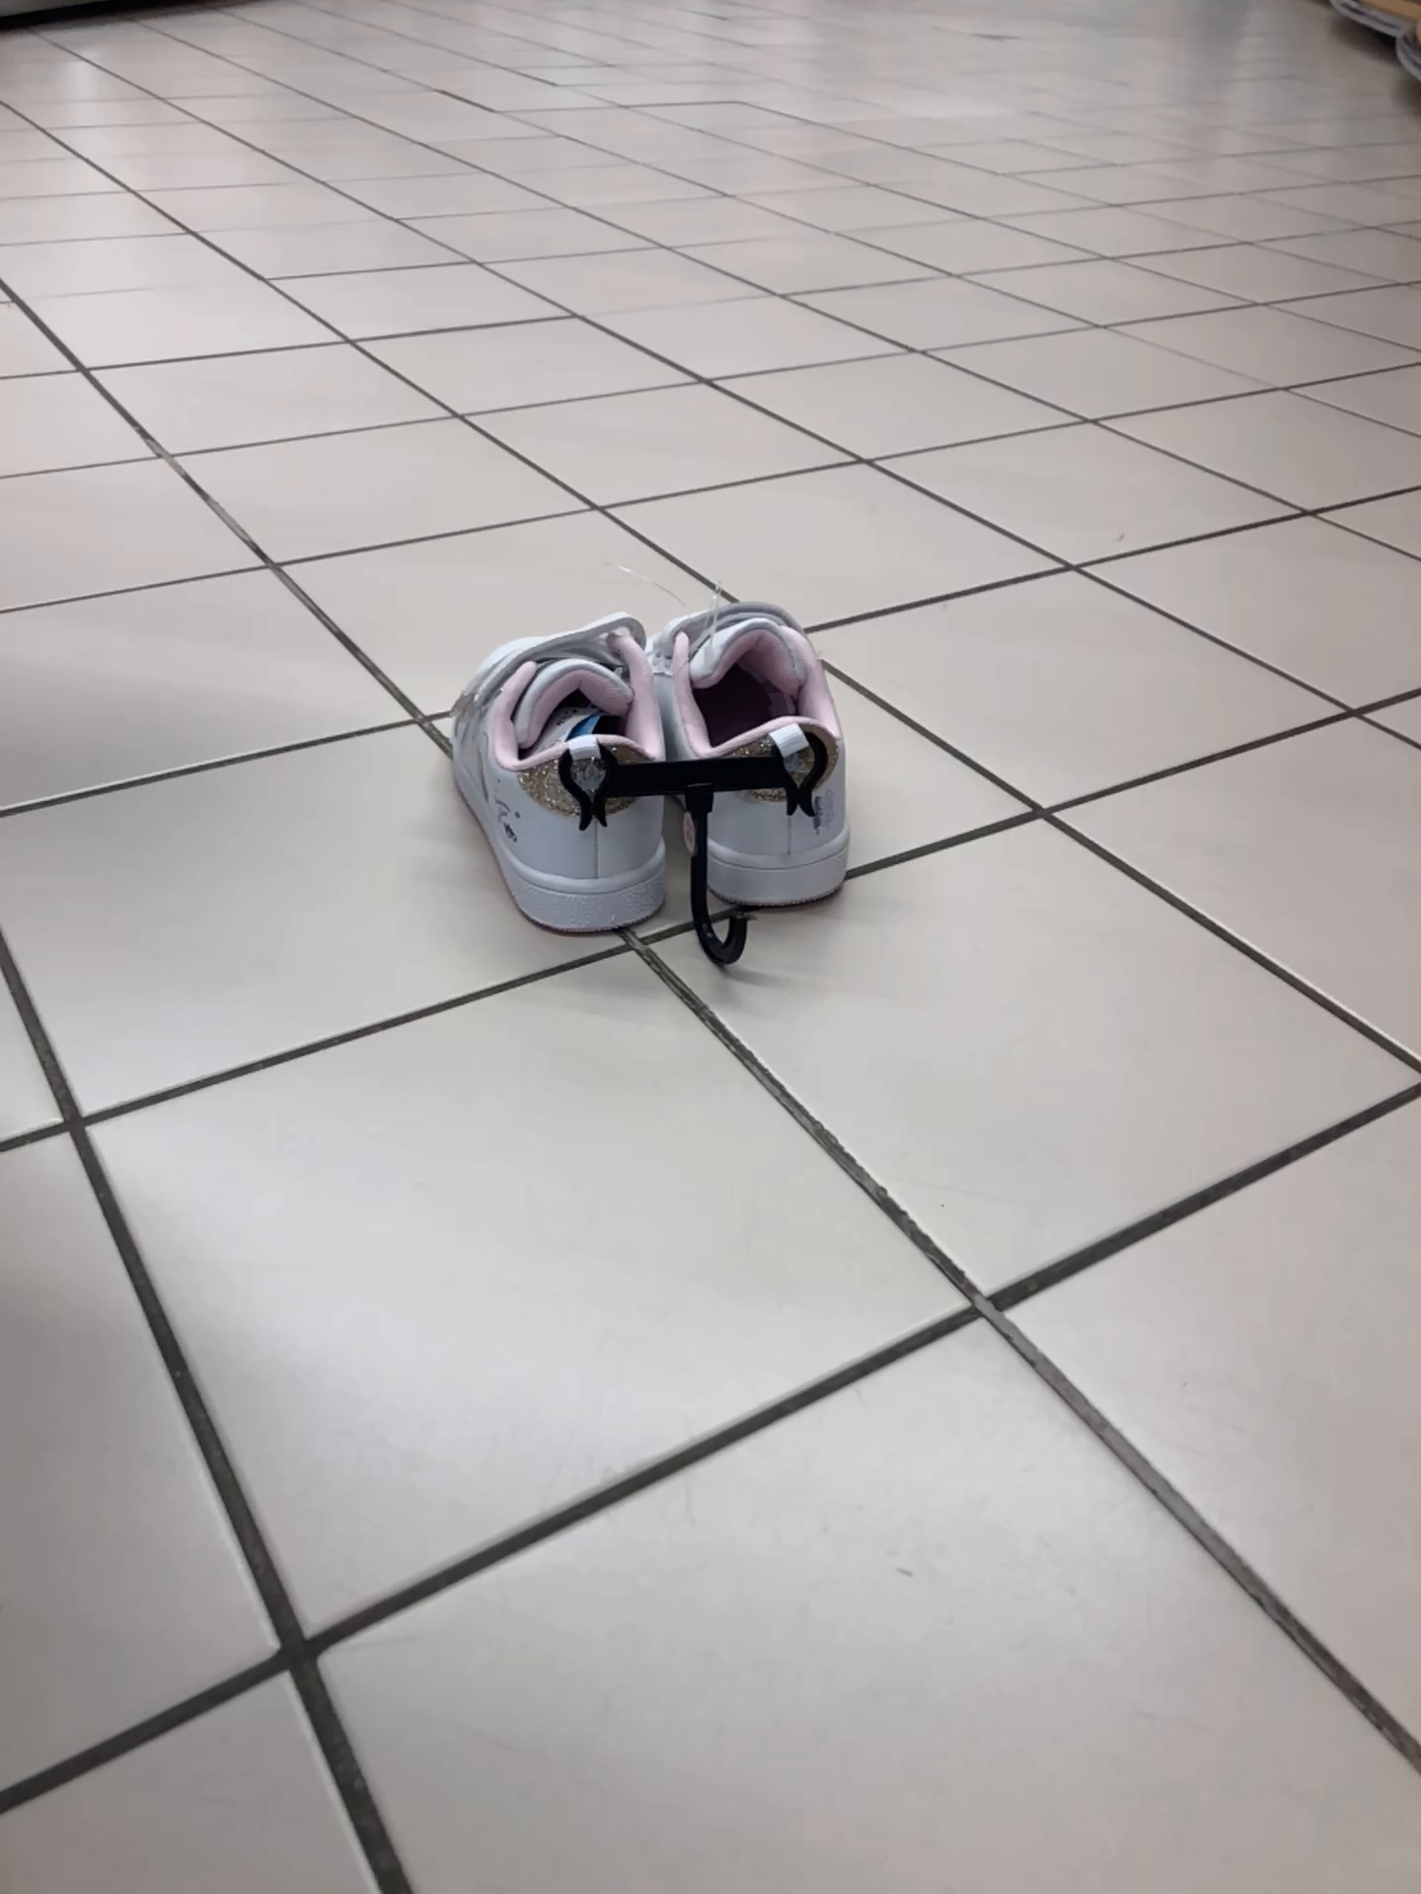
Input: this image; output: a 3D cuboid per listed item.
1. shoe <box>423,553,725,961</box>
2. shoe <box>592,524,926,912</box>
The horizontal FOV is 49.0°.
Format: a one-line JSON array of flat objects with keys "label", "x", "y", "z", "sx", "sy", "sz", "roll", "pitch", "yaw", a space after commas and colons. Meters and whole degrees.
[{"label": "shoe", "x": -0.061, "y": -0.085, "z": 0.625, "sx": 0.080, "sy": 0.070, "sz": 0.201, "roll": -7, "pitch": 36, "yaw": -14}, {"label": "shoe", "x": 0.011, "y": -0.103, "z": 0.645, "sx": 0.080, "sy": 0.070, "sz": 0.201, "roll": -7, "pitch": 36, "yaw": -14}]
